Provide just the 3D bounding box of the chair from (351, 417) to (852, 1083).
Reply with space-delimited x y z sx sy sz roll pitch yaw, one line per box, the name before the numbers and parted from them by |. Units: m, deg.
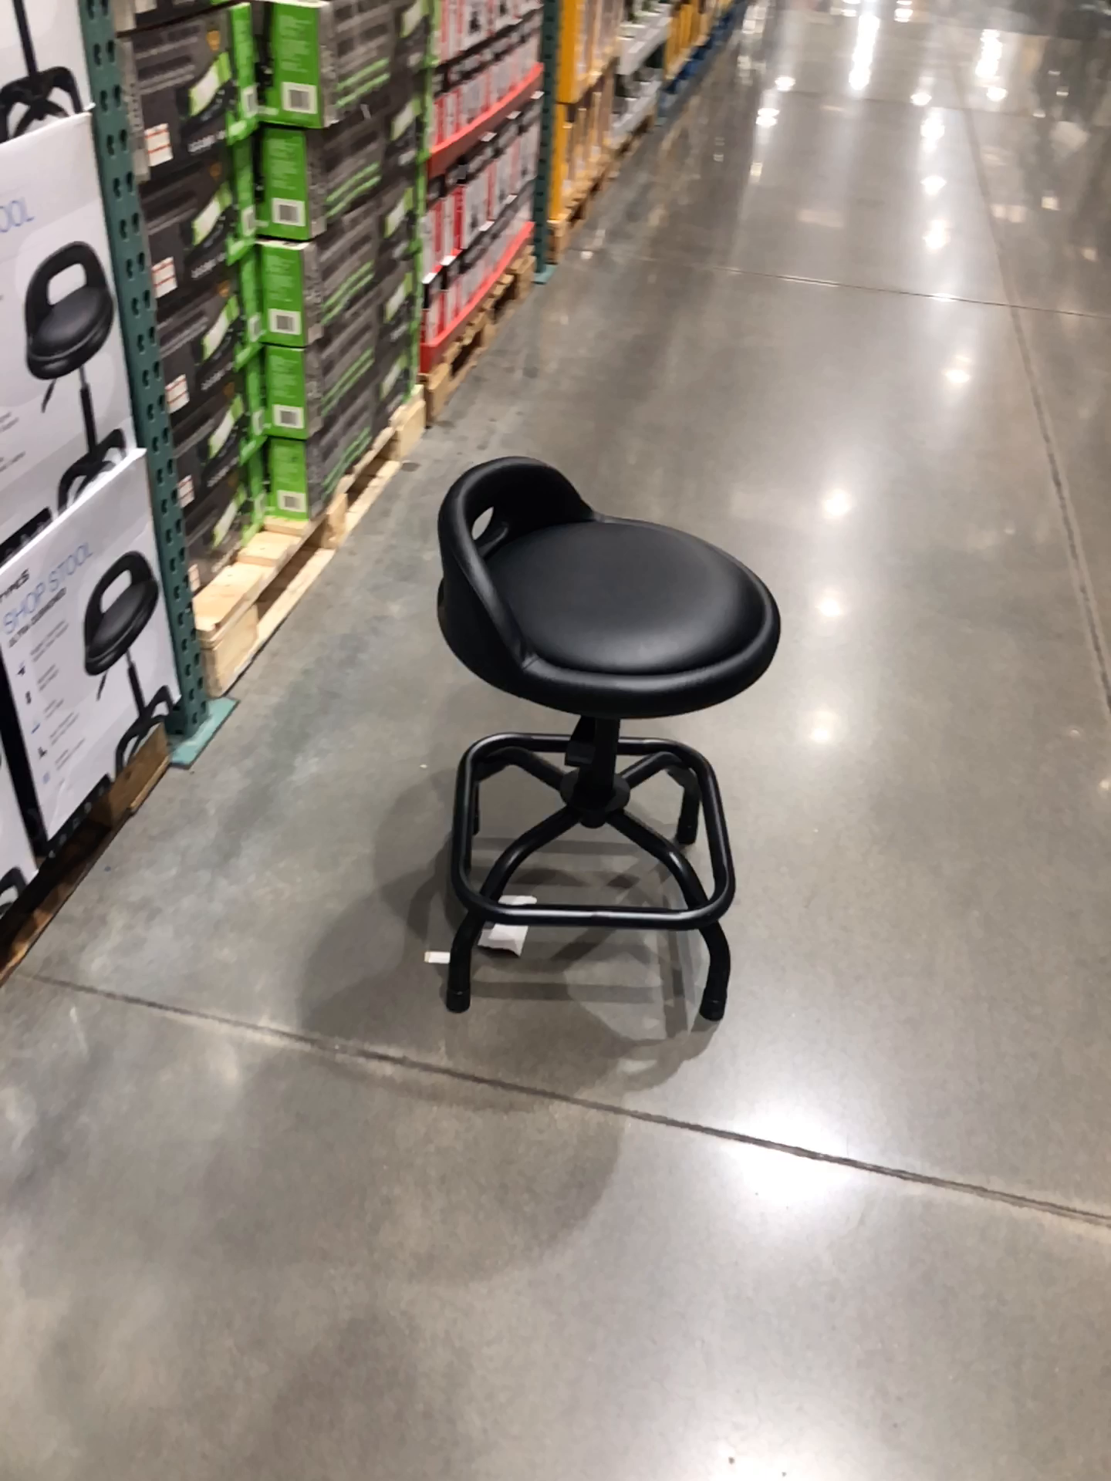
chair | 0.069 -0.001 1.642 0.501 0.627 0.522 12 38 9
